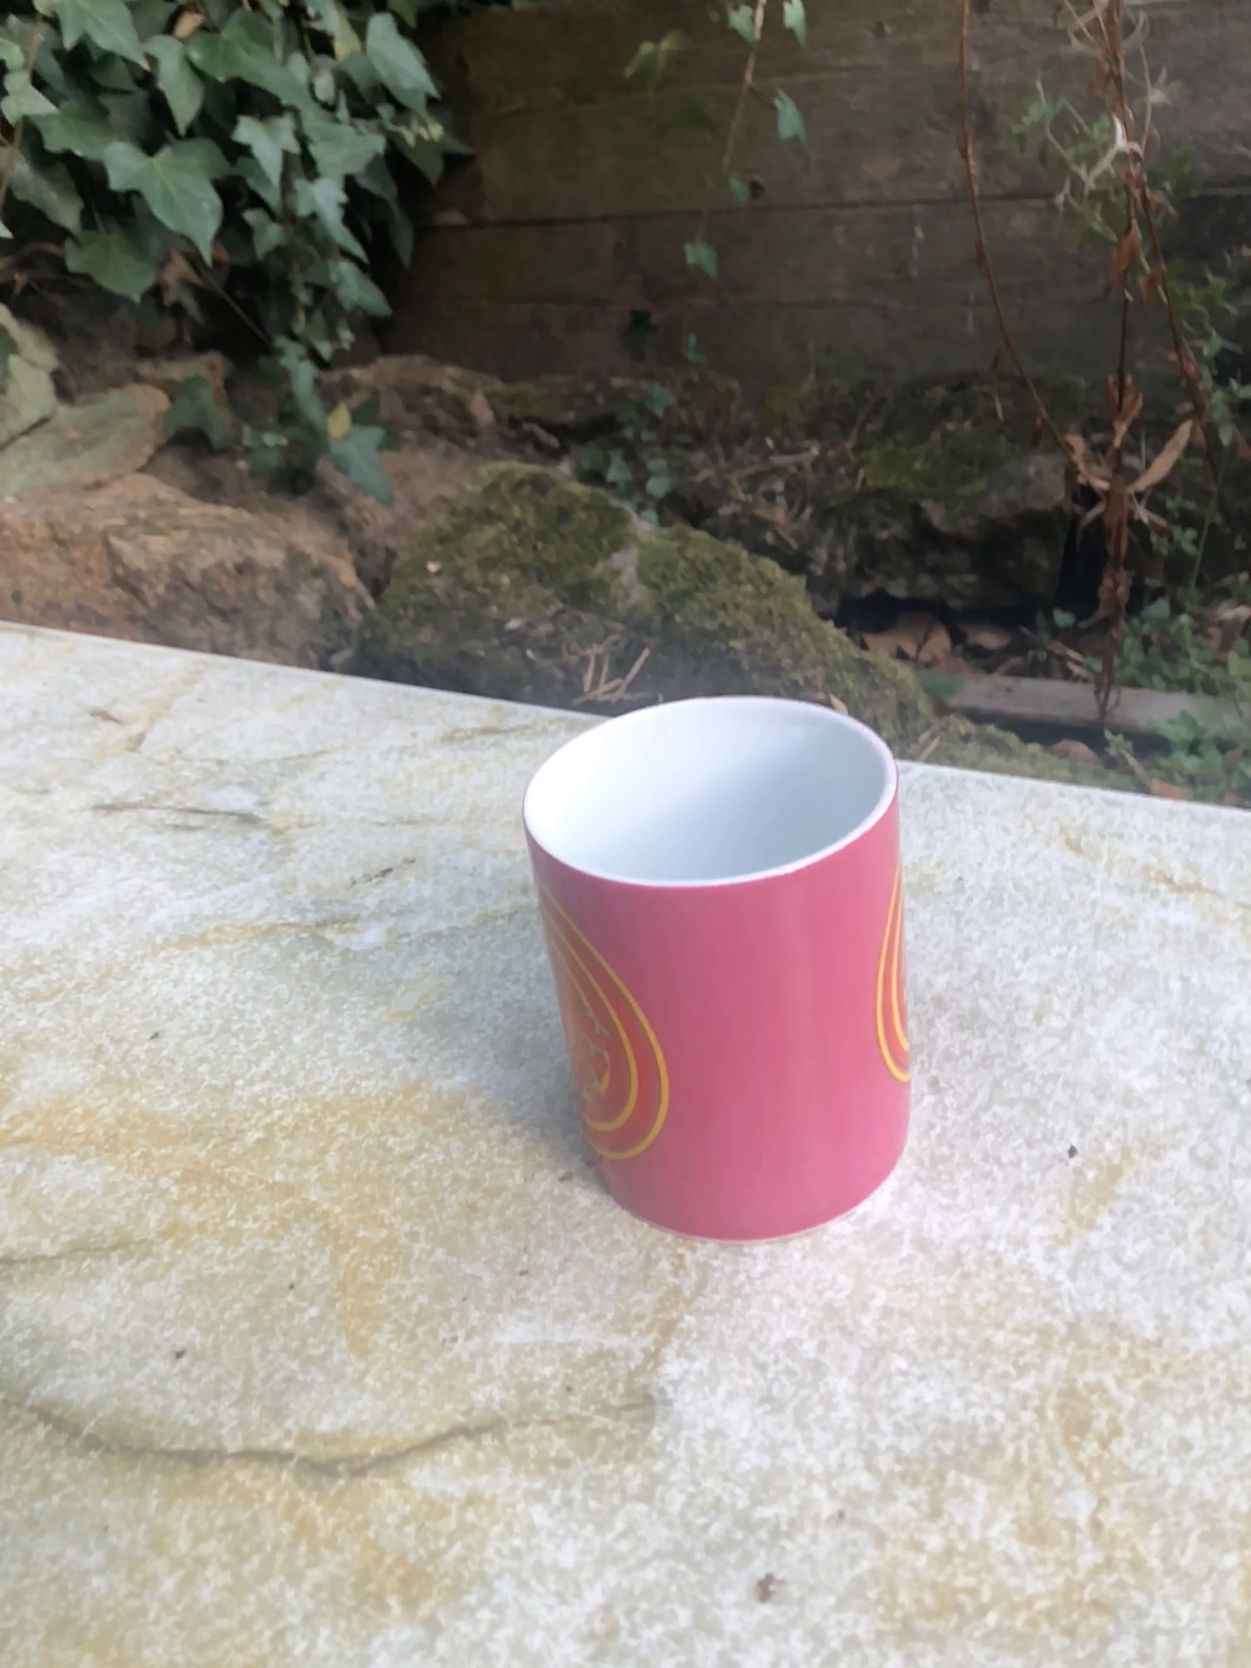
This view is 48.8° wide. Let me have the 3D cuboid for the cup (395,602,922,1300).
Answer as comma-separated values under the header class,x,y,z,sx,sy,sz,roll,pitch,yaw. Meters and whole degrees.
class,x,y,z,sx,sy,sz,roll,pitch,yaw
cup,0.004,0.018,0.308,0.076,0.089,0.116,-15,33,-11
